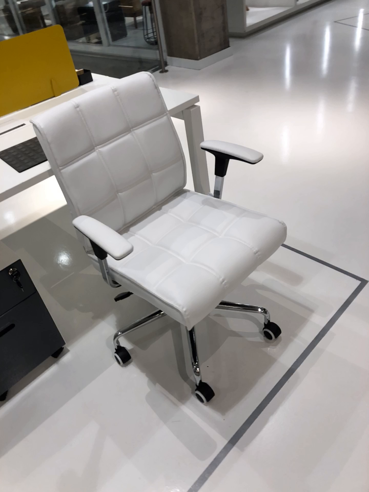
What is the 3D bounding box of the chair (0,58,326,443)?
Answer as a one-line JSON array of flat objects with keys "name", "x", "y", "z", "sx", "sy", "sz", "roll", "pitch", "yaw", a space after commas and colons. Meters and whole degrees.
[{"name": "chair", "x": -0.025, "y": -0.025, "z": 1.322, "sx": 0.633, "sy": 0.883, "sz": 0.652, "roll": 25, "pitch": 50, "yaw": 36}]
